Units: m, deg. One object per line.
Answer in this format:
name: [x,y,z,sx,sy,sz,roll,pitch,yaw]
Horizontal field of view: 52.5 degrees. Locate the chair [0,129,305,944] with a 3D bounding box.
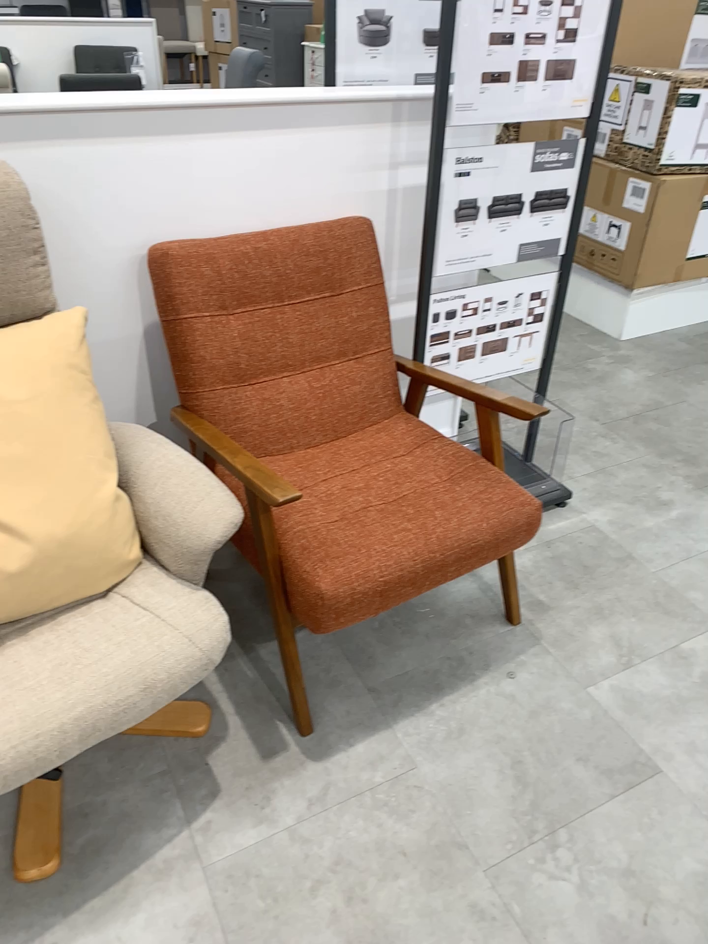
chair: [-0.574,0.058,1.205,0.700,1.013,0.683,-26,42,-35]

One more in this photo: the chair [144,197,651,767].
chair: [0.041,-0.041,1.610,0.689,0.884,0.704,-18,39,-27]
